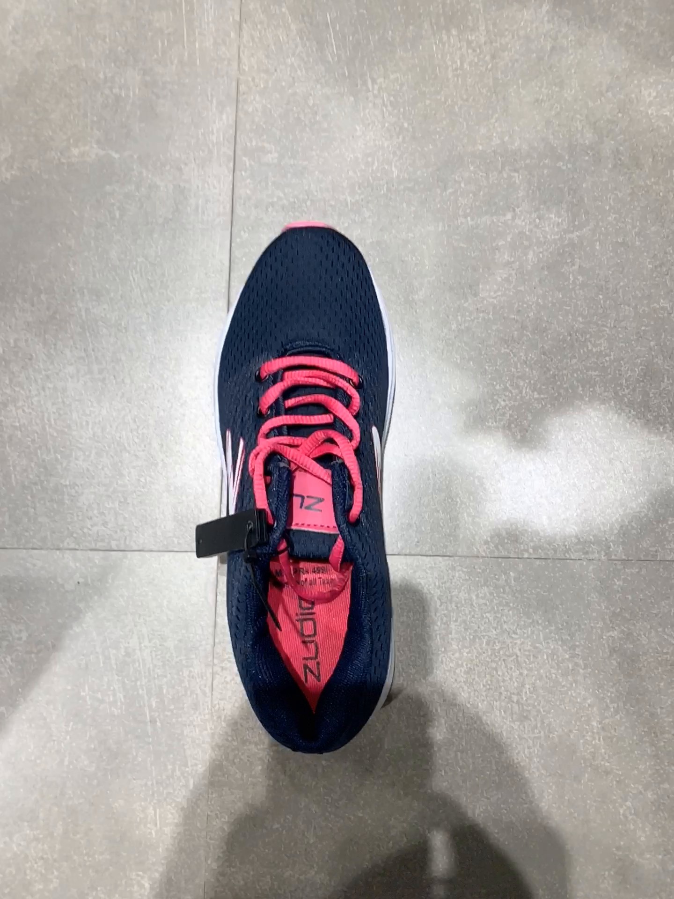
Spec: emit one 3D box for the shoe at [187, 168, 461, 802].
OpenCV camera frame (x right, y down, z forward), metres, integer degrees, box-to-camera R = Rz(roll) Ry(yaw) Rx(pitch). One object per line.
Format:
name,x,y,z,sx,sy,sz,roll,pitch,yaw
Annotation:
shoe,-0.009,0.012,0.320,0.094,0.090,0.248,-3,83,-1
